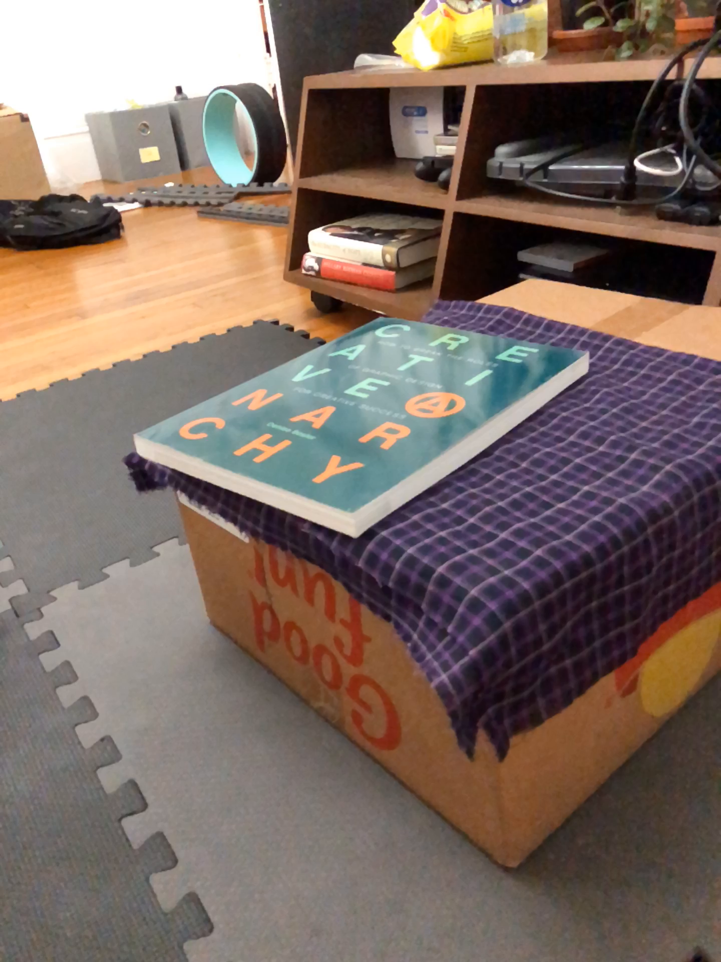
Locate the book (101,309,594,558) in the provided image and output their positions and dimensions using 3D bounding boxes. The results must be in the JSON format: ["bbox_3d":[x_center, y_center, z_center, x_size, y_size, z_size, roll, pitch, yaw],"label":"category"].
[{"bbox_3d":[0.001,-0.060,0.583,0.221,0.020,0.301,18,38,37],"label":"book"}]
